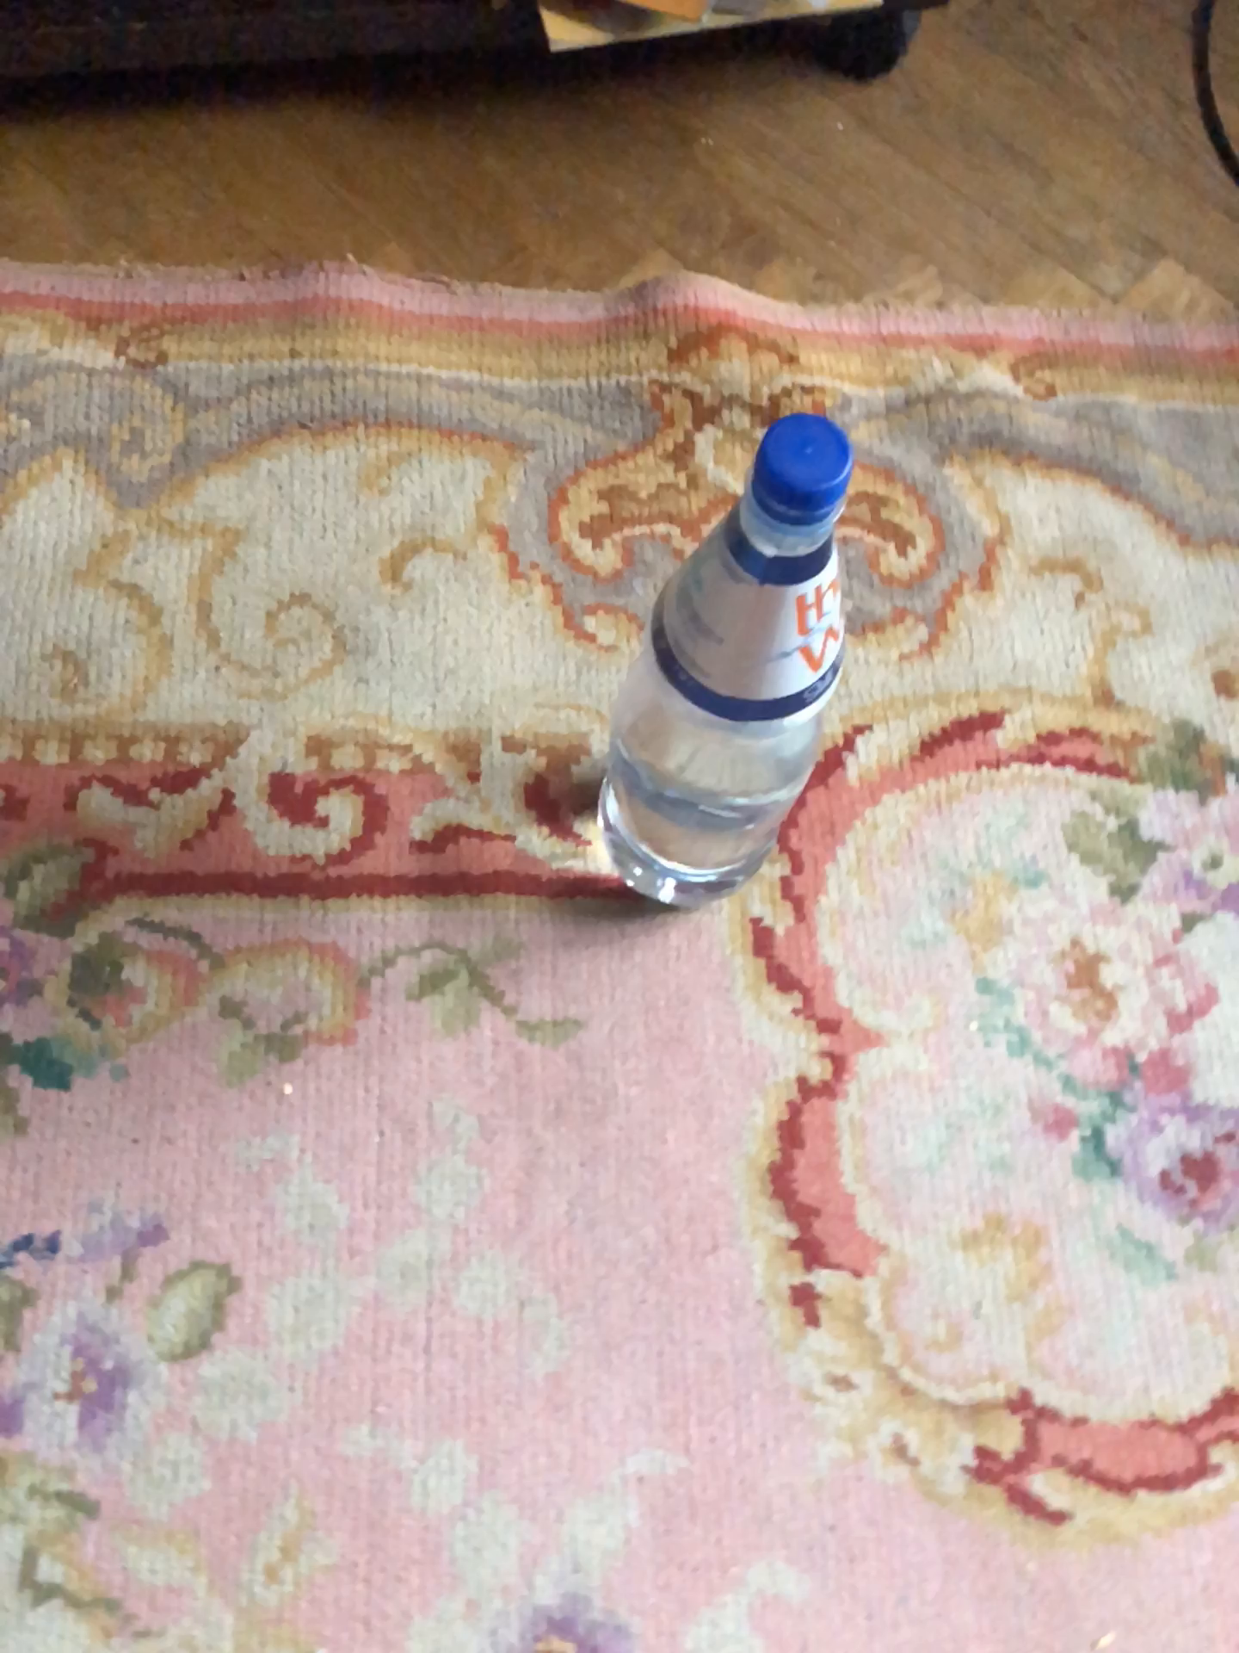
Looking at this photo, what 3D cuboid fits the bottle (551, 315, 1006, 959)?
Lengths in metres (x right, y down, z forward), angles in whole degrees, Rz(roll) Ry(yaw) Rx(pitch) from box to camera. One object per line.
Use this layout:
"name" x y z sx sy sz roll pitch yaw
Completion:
"bottle" 0.047 -0.054 0.587 0.100 0.309 0.110 27 69 5
